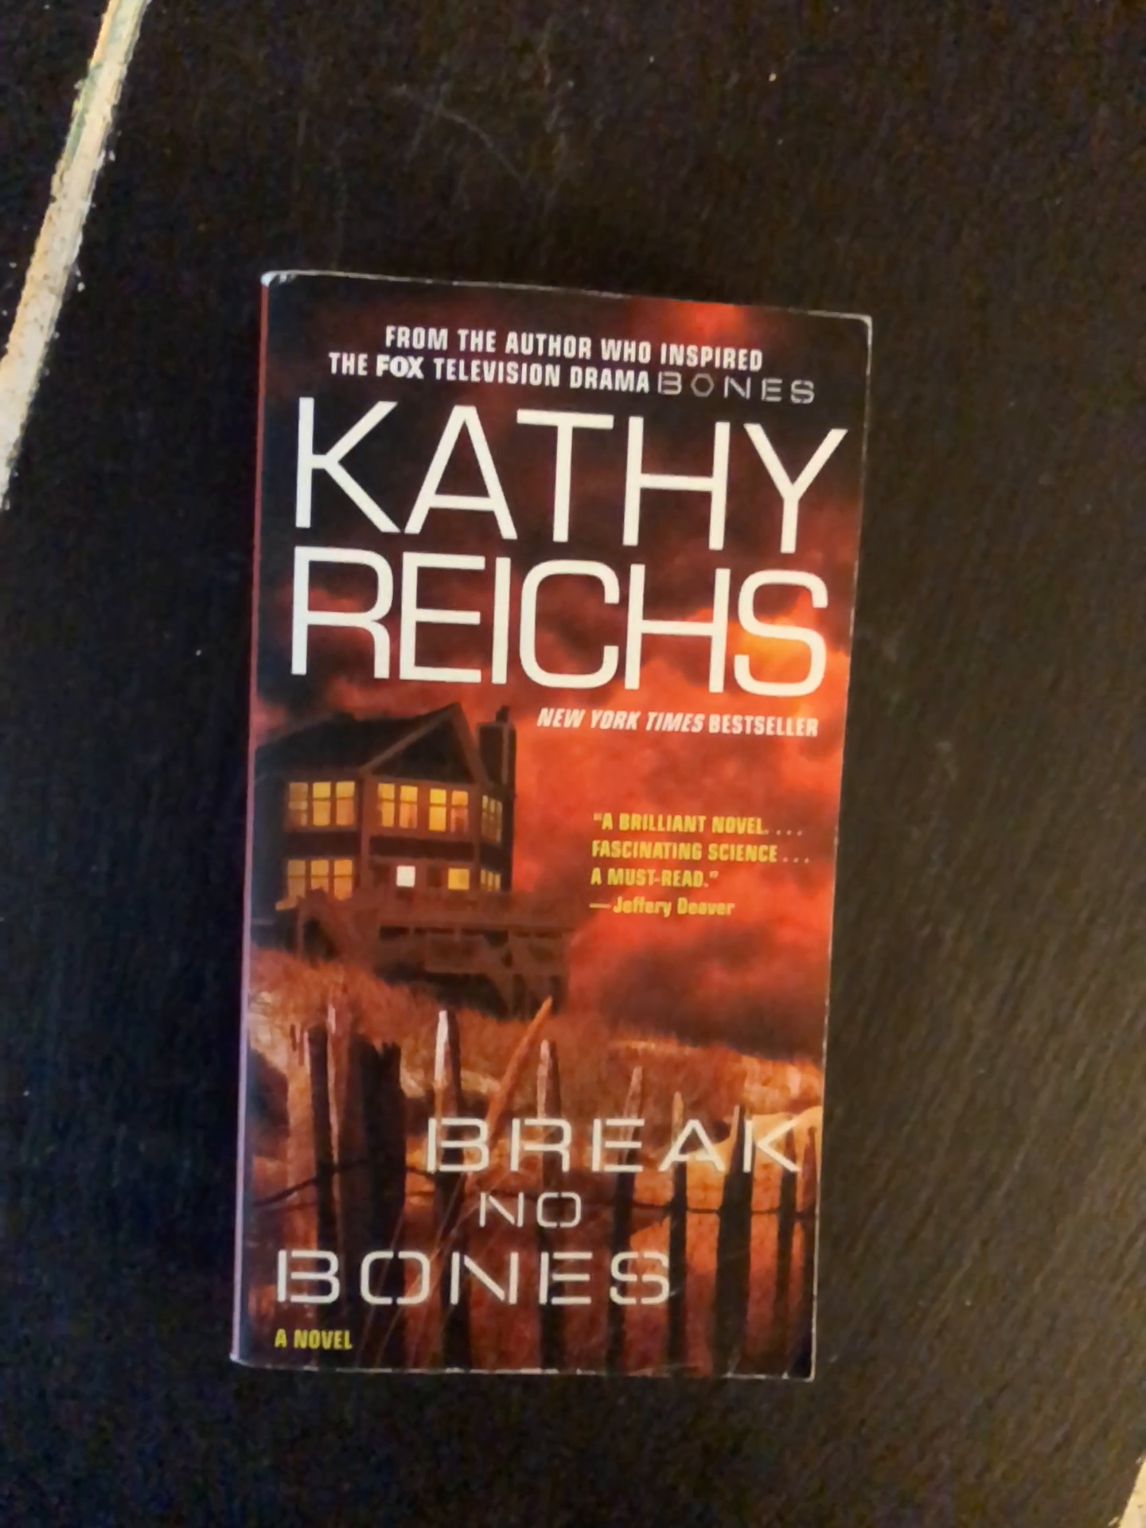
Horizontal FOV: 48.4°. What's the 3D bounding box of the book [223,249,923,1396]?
[{"bbox_3d":[-0.002,0.014,0.229,0.107,0.030,0.189,3,95,-5],"label":"book"}]
